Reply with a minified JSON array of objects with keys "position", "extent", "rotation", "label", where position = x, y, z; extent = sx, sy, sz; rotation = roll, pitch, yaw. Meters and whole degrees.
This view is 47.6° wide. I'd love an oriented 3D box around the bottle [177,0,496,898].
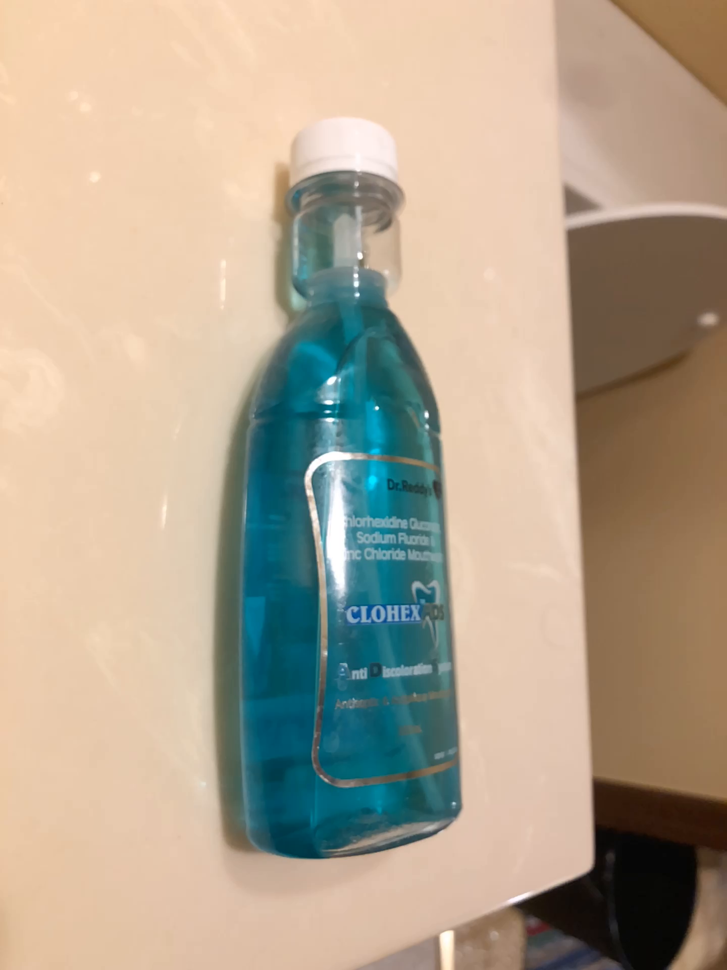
[{"position":[-0.007,-0.015,0.220],"extent":[0.070,0.040,0.210],"rotation":[7,79,-42],"label":"bottle"}]
